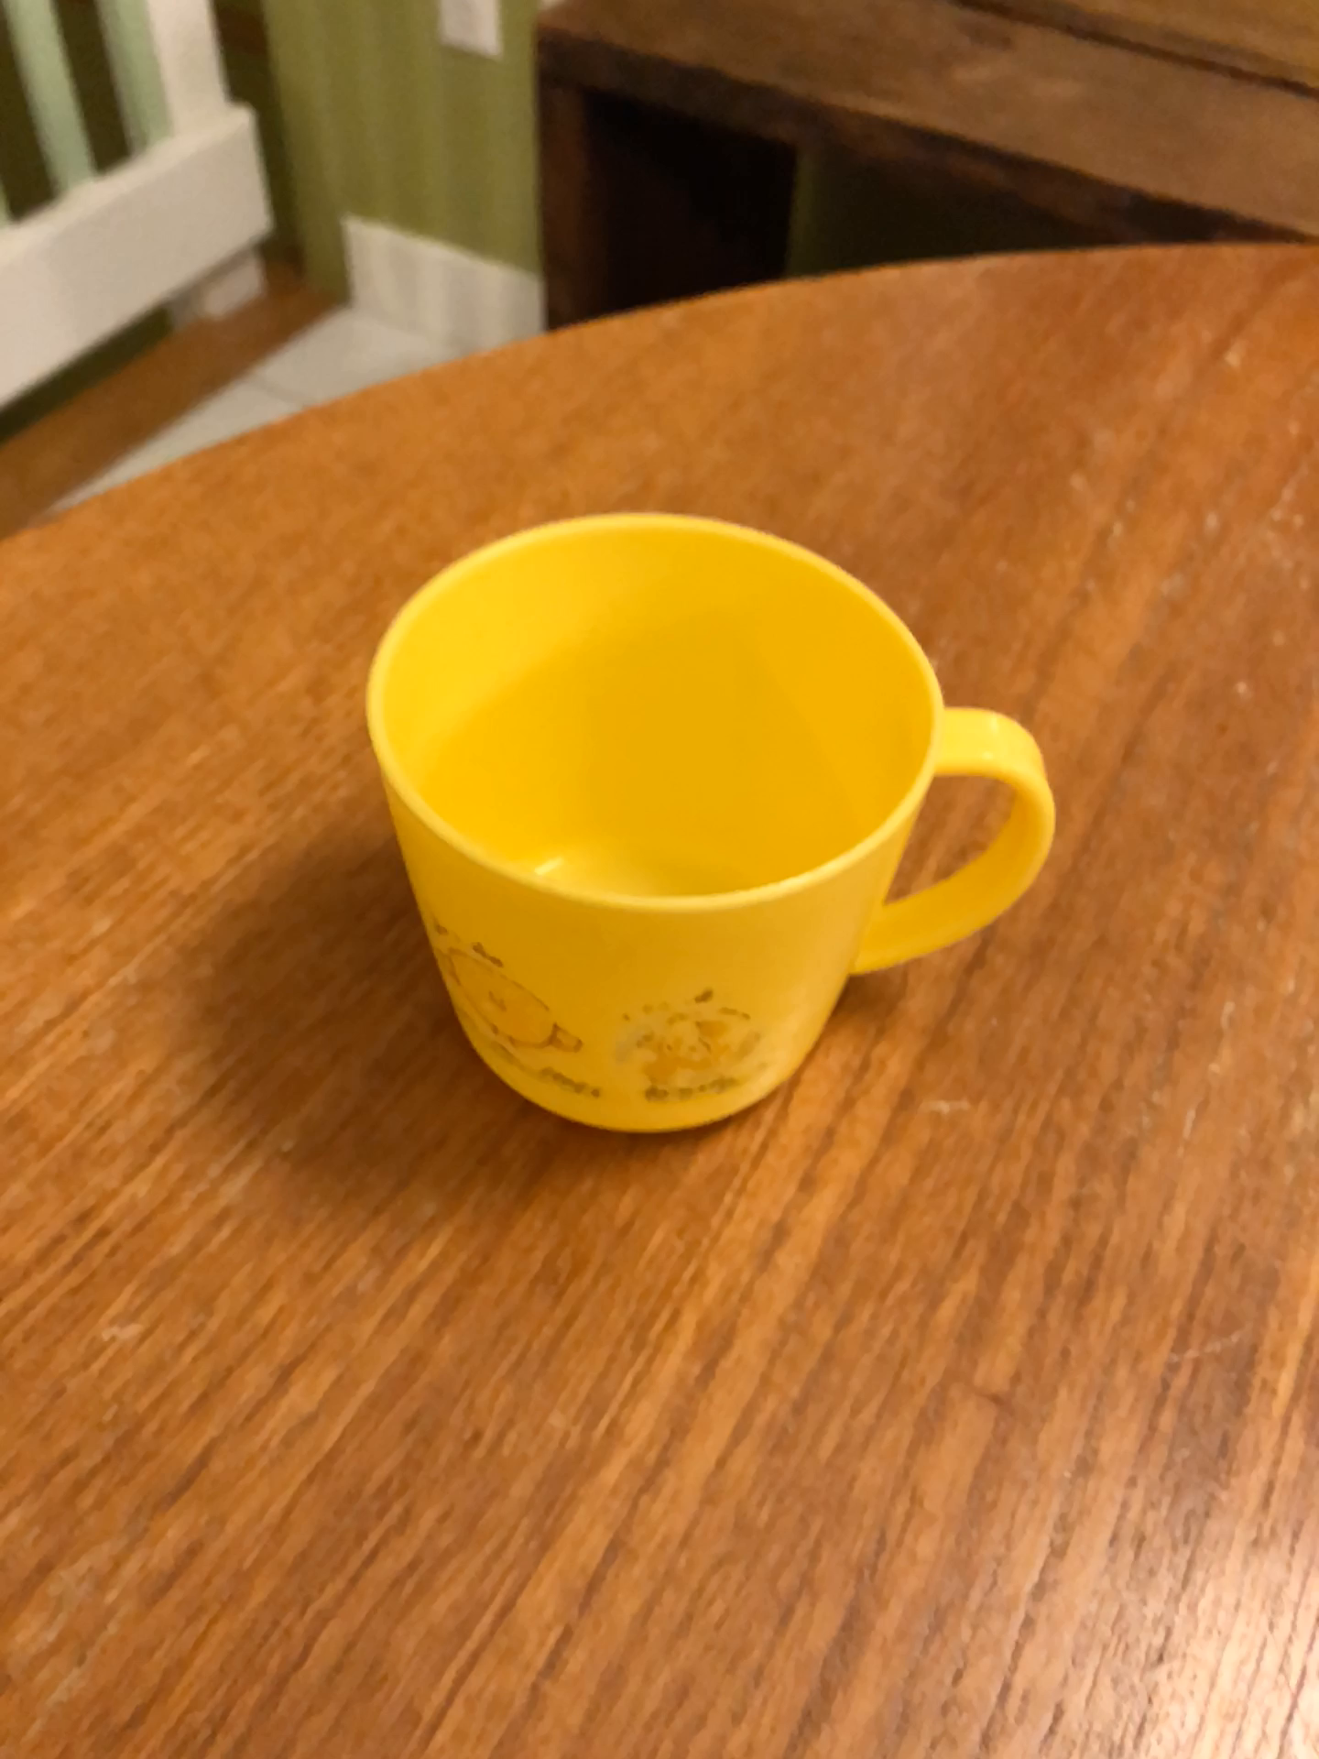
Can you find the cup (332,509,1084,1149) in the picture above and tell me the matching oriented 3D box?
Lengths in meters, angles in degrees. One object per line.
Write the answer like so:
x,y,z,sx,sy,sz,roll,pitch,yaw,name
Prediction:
0.004,-0.009,0.241,0.097,0.064,0.081,-1,50,-4,cup
